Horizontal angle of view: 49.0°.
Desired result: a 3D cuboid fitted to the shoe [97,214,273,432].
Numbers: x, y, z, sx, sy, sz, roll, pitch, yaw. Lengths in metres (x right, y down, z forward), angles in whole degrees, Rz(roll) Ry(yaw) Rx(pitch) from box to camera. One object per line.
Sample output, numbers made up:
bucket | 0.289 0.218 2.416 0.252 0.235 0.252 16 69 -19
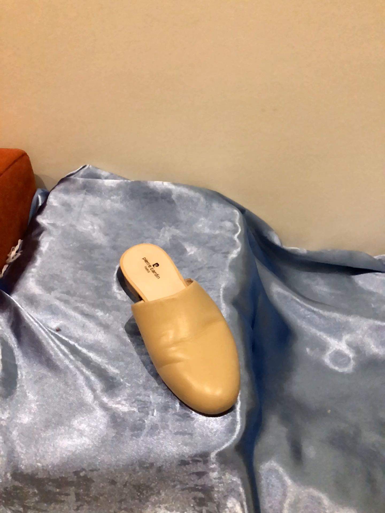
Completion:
shoe | -0.025 0.053 0.483 0.095 0.060 0.261 -14 42 -21
